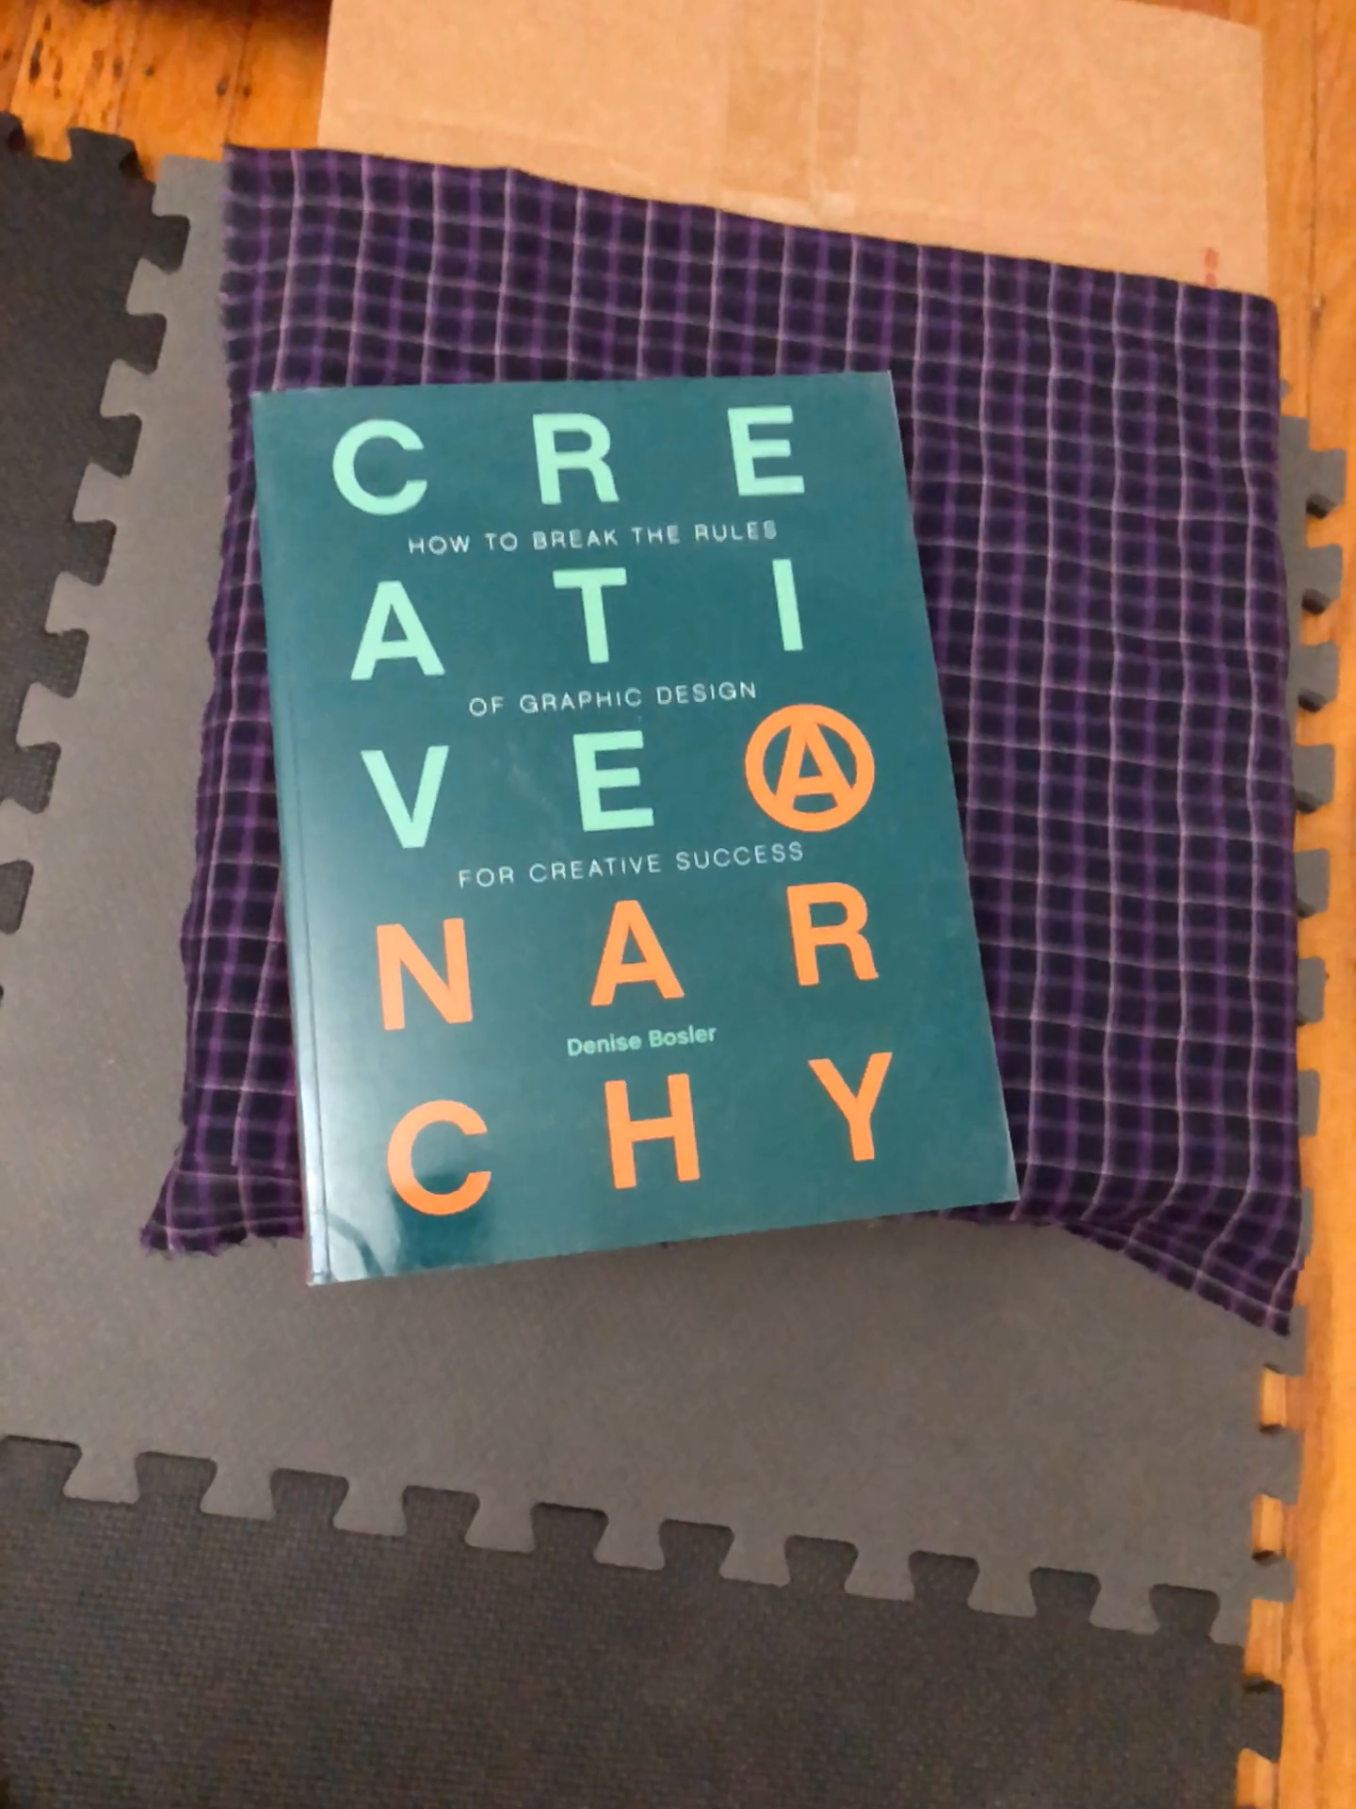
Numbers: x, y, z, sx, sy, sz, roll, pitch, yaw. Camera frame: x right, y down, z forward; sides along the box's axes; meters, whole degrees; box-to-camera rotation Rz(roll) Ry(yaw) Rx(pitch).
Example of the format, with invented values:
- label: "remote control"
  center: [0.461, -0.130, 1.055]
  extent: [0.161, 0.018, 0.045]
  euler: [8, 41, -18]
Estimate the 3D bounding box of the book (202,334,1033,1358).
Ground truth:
- label: "book"
  center: [-0.023, -0.031, 0.462]
  extent: [0.220, 0.020, 0.300]
  euler: [-5, 79, -8]
